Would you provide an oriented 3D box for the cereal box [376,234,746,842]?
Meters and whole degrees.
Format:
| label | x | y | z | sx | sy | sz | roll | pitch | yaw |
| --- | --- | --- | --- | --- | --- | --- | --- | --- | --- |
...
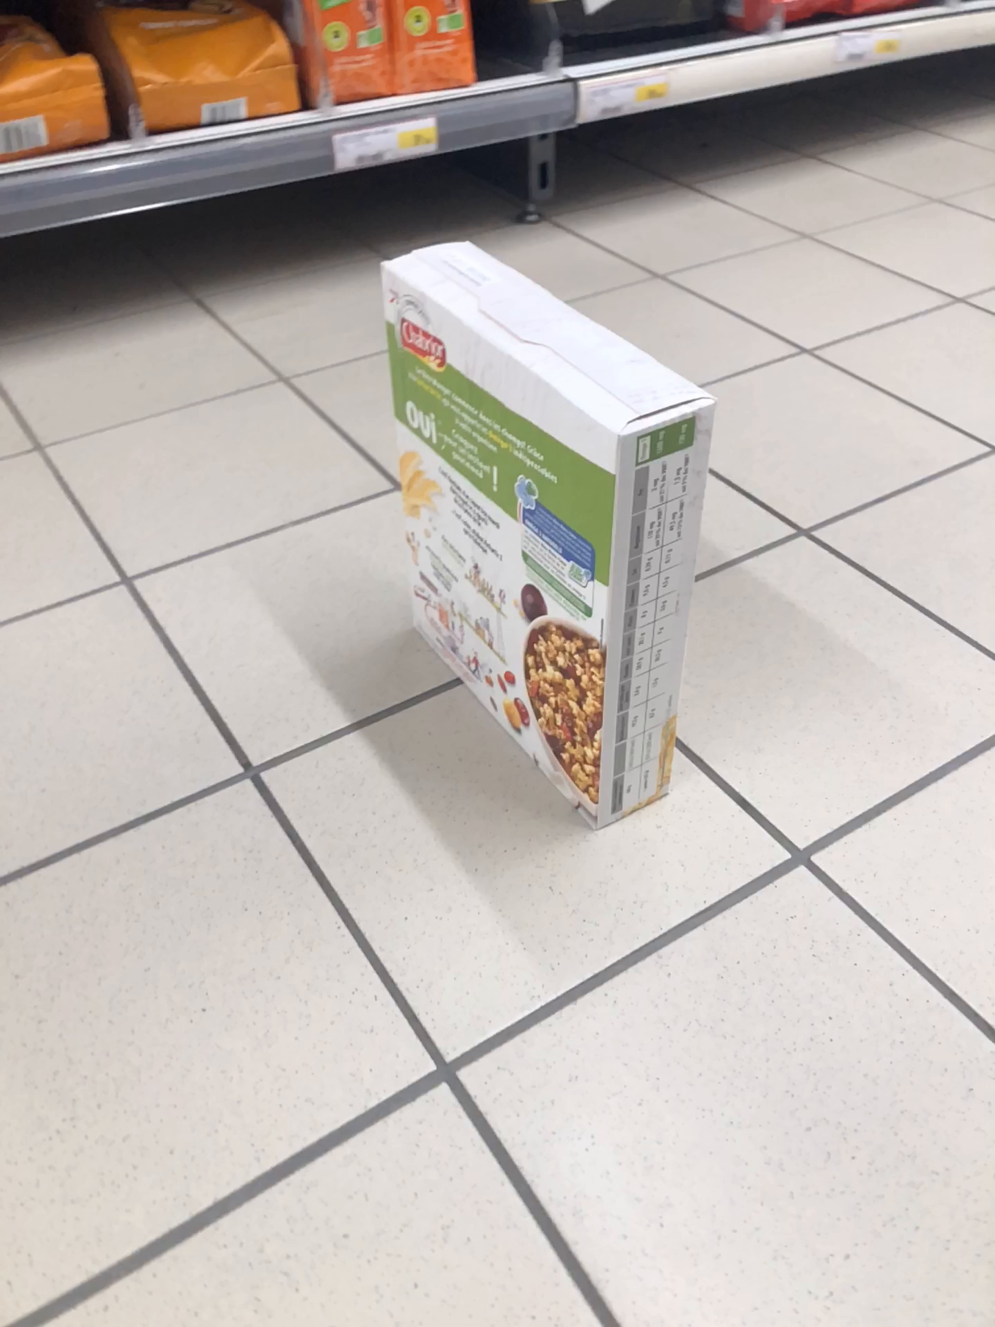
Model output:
| label | x | y | z | sx | sy | sz | roll | pitch | yaw |
| --- | --- | --- | --- | --- | --- | --- | --- | --- | --- |
| cereal box | 0.019 | -0.062 | 0.540 | 0.060 | 0.228 | 0.191 | -22 | 45 | -24 |
